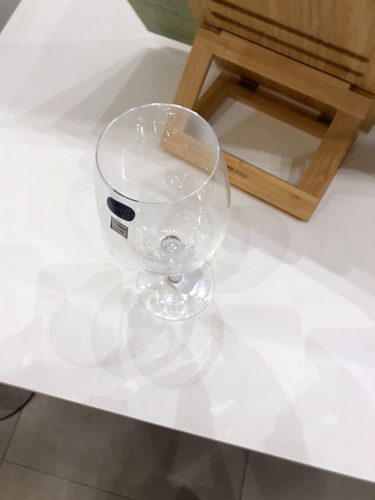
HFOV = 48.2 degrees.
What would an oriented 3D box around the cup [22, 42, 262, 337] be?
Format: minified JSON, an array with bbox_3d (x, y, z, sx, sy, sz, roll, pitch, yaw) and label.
[{"bbox_3d":[-0.019,-0.018,0.328,0.100,0.239,0.090,17,67,8],"label":"cup"}]
